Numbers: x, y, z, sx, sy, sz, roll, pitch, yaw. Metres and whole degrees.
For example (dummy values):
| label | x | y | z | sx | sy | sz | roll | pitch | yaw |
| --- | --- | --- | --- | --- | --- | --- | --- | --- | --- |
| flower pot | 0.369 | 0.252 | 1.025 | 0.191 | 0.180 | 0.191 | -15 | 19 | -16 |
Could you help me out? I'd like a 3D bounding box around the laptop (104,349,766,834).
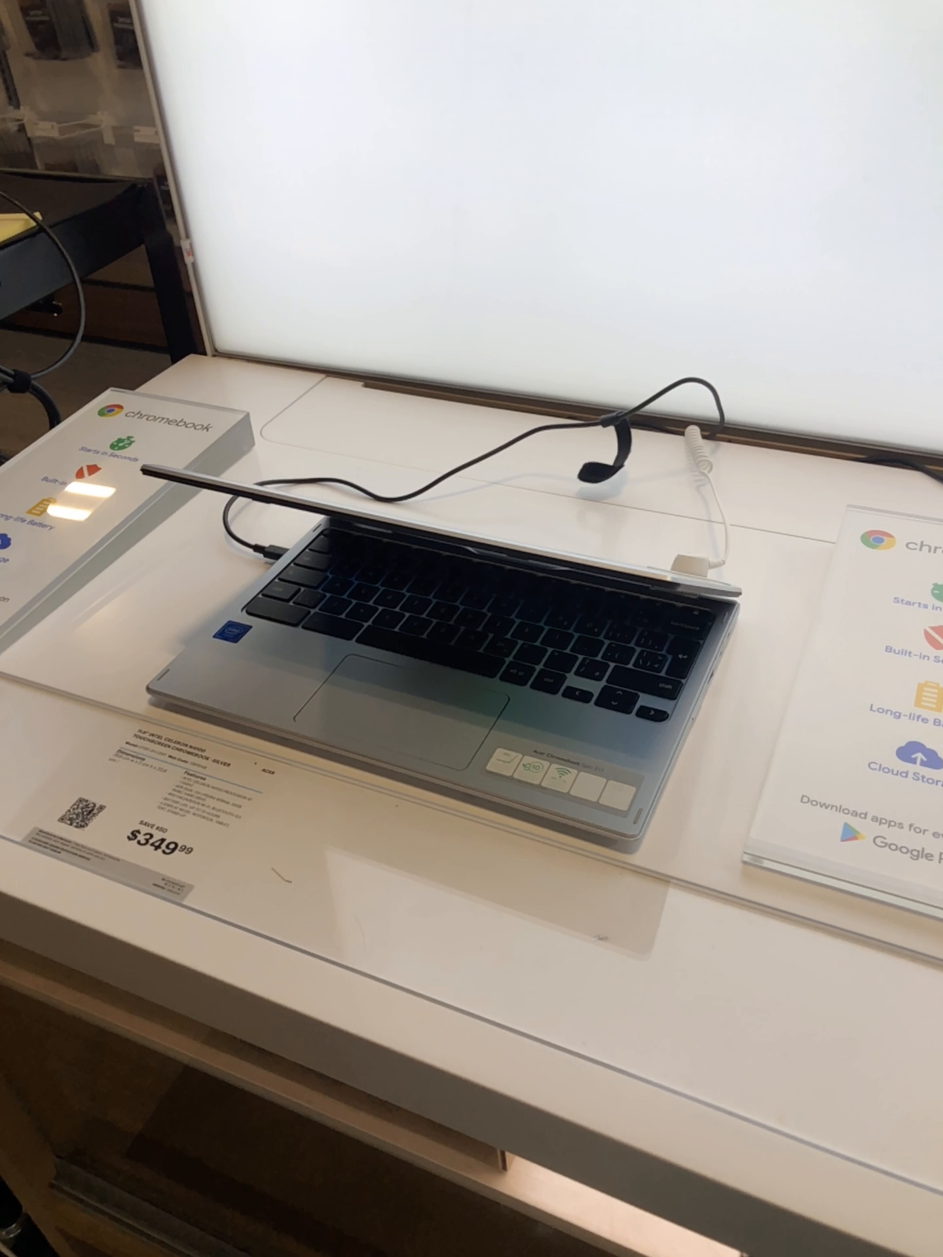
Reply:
| label | x | y | z | sx | sy | sz | roll | pitch | yaw |
| --- | --- | --- | --- | --- | --- | --- | --- | --- | --- |
| laptop | -0.010 | -0.039 | 0.563 | 0.280 | 0.123 | 0.192 | 14 | 41 | 21 |
